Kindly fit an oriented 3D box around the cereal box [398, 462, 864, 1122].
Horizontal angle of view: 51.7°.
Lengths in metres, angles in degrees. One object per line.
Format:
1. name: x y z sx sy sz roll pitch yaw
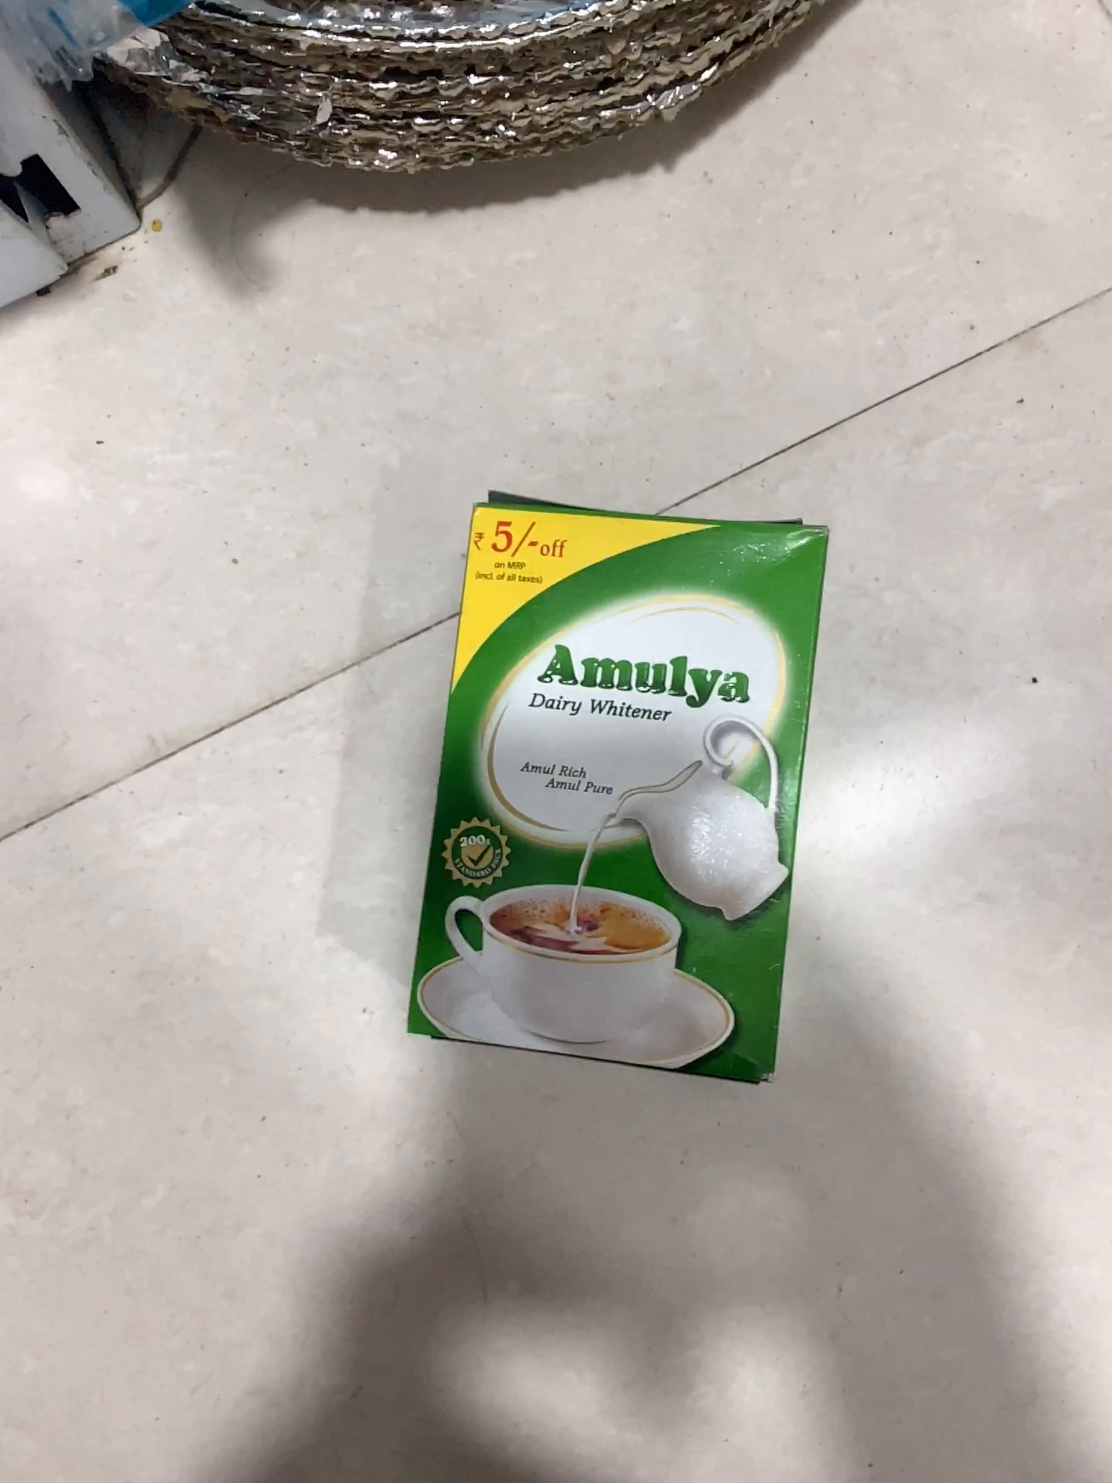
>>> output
1. cereal box: 0.020 0.011 0.290 0.090 0.060 0.140 6 85 6
